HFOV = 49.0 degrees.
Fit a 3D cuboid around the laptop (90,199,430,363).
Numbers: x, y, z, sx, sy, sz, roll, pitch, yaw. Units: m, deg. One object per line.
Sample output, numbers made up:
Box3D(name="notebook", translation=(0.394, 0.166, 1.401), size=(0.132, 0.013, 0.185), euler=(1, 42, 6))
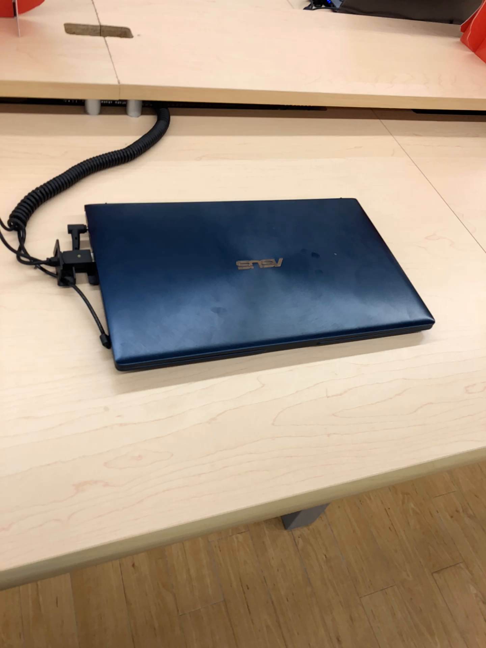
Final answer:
Box3D(name="laptop", translation=(0.017, -0.056, 0.509), size=(0.295, 0.001, 0.178), euler=(-6, 54, -20))
